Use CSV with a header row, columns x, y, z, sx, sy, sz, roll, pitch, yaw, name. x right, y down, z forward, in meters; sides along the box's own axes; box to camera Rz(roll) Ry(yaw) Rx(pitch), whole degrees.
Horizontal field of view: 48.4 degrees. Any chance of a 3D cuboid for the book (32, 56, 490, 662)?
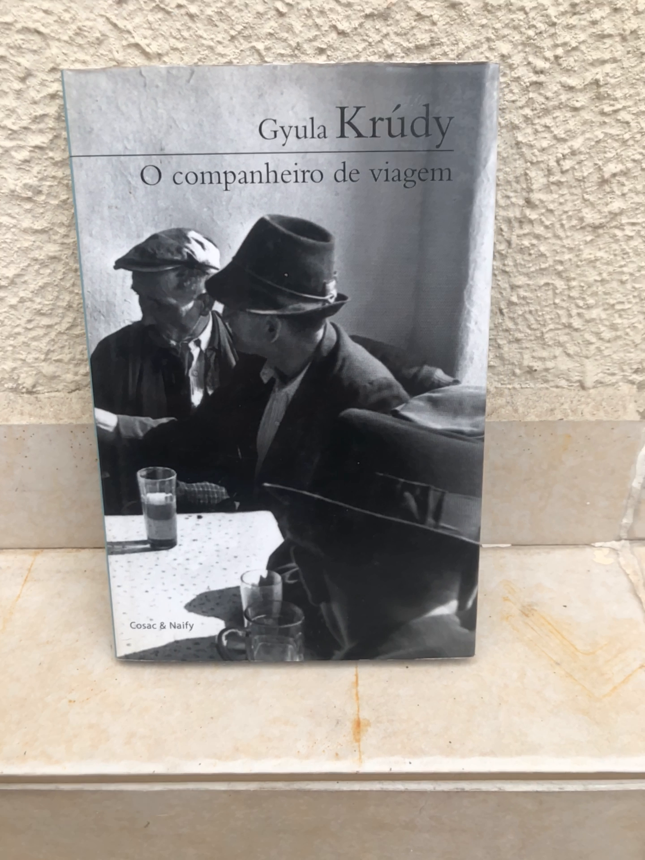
x,y,z,sx,sy,sz,roll,pitch,yaw,name
-0.018,-0.015,0.250,0.137,0.205,0.019,0,15,0,book
